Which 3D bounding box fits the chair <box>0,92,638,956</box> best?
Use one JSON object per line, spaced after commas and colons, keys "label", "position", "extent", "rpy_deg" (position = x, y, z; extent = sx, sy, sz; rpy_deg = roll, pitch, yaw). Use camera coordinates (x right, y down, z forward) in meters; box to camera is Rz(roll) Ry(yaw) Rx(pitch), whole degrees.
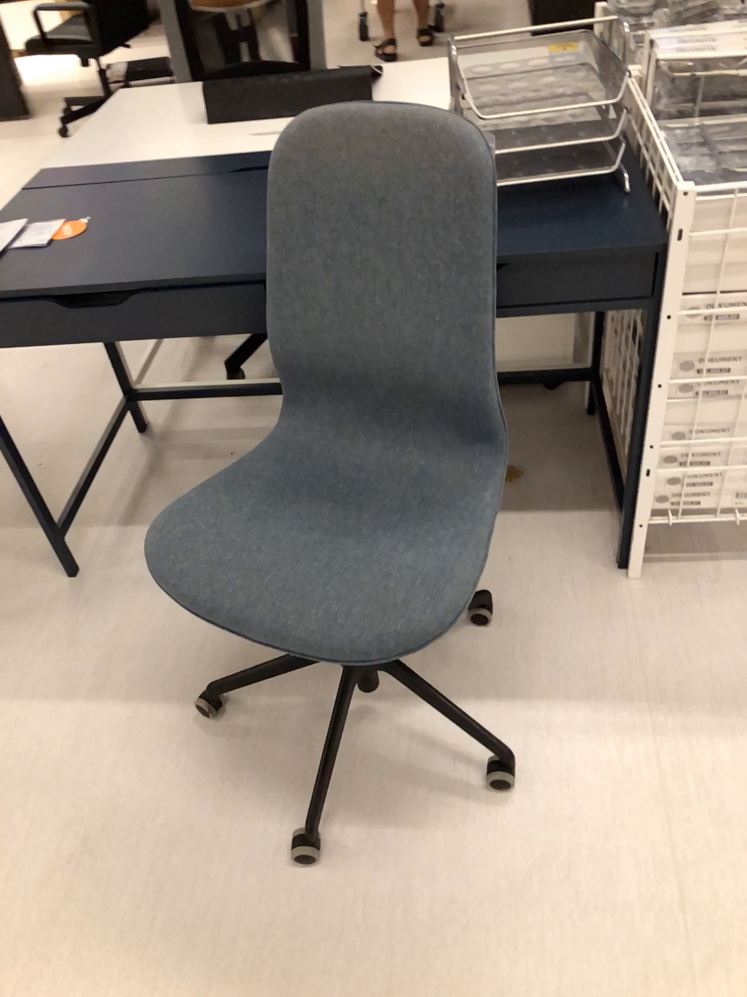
{"label": "chair", "position": [-0.069, 0.015, 1.217], "extent": [0.641, 0.934, 0.683], "rpy_deg": [16, 47, 26]}
